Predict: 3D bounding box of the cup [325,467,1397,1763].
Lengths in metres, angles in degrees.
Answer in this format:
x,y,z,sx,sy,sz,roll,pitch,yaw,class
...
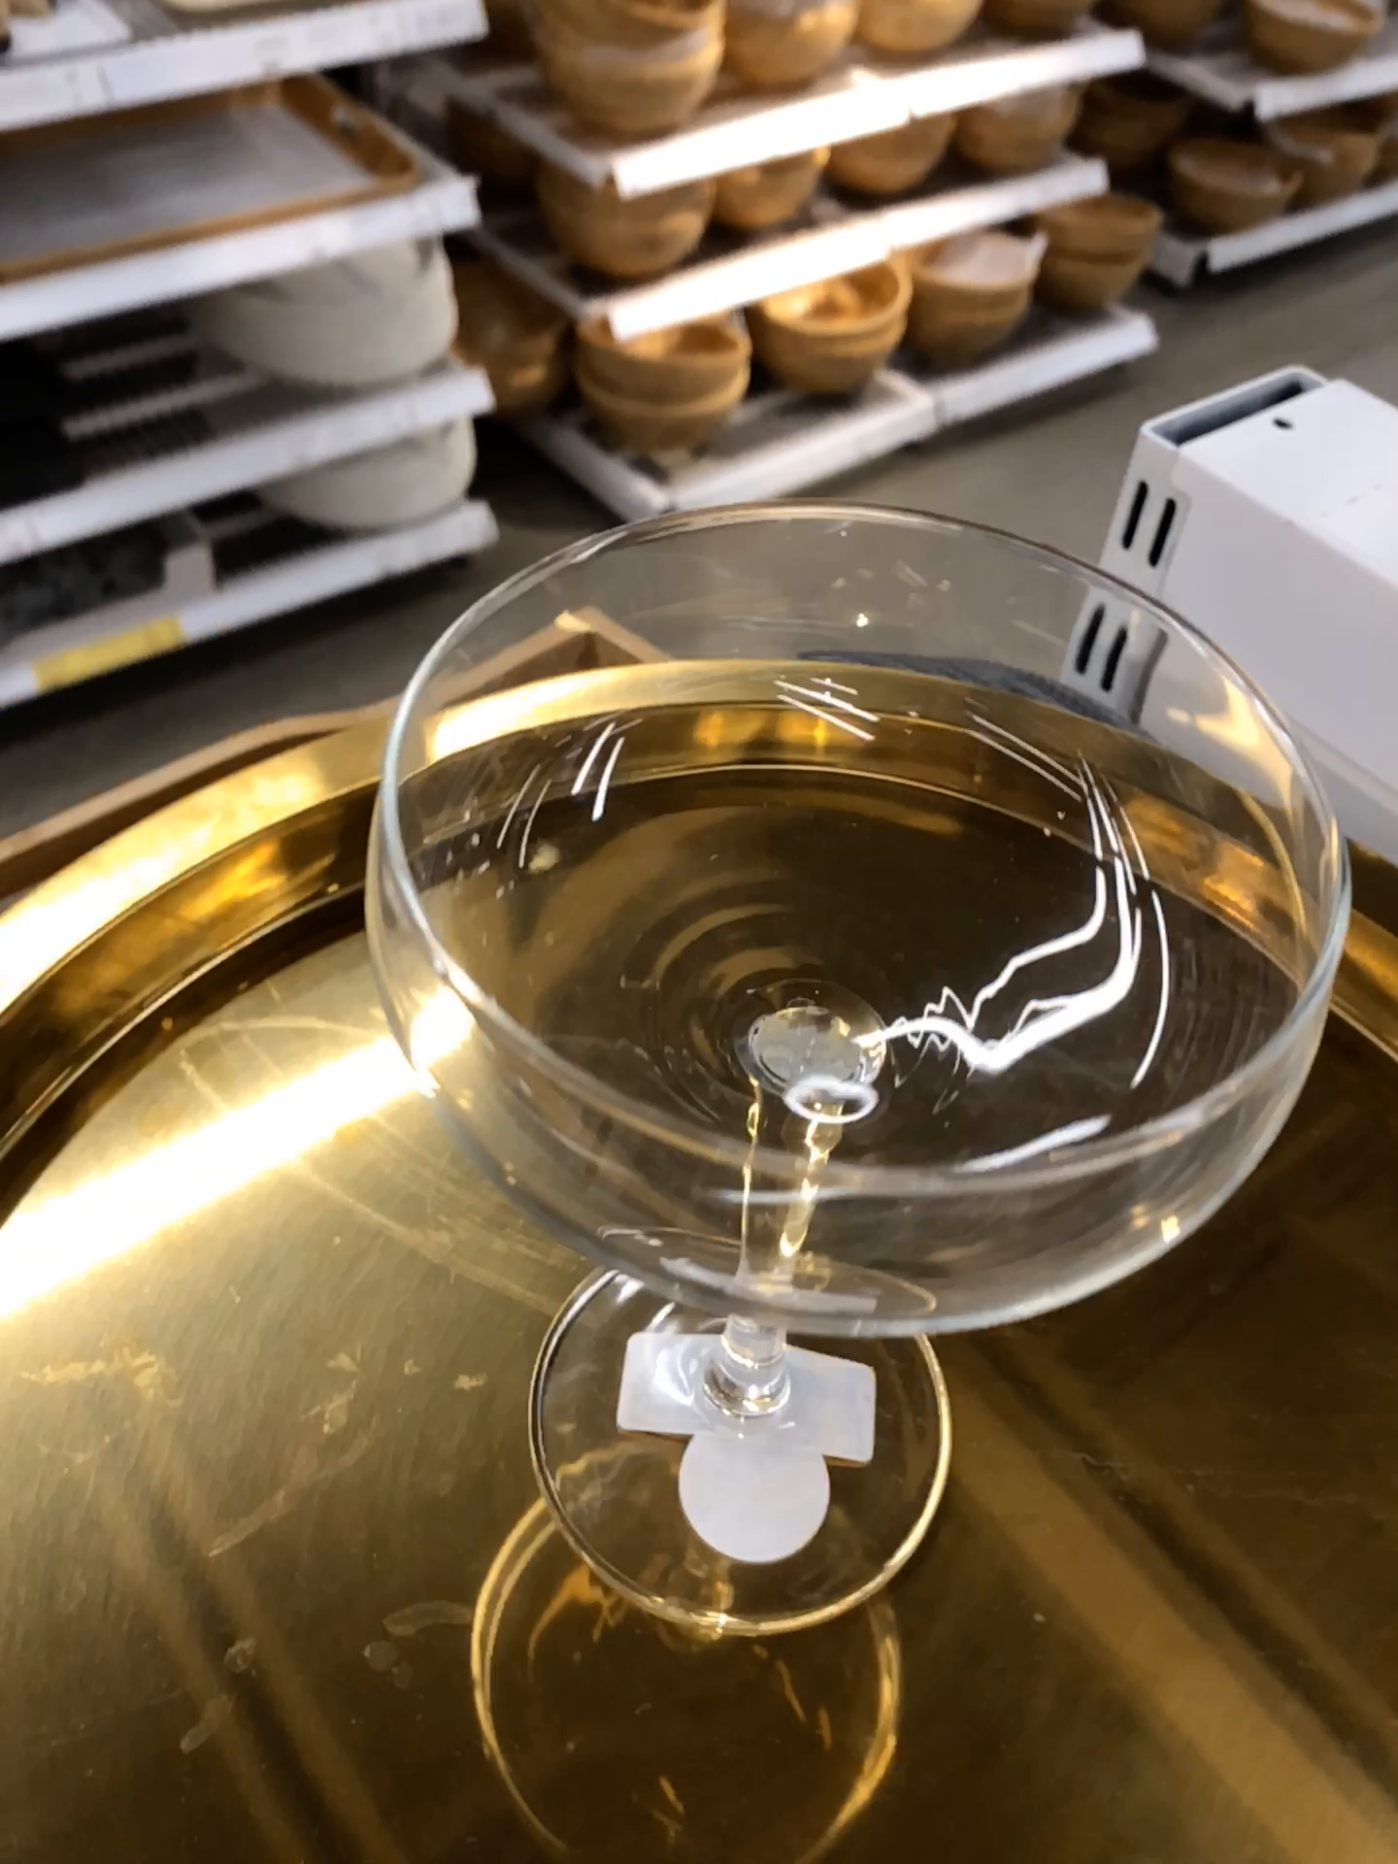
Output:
x,y,z,sx,sy,sz,roll,pitch,yaw,class
0.017,0.030,0.214,0.110,0.140,0.110,3,47,-3,cup
